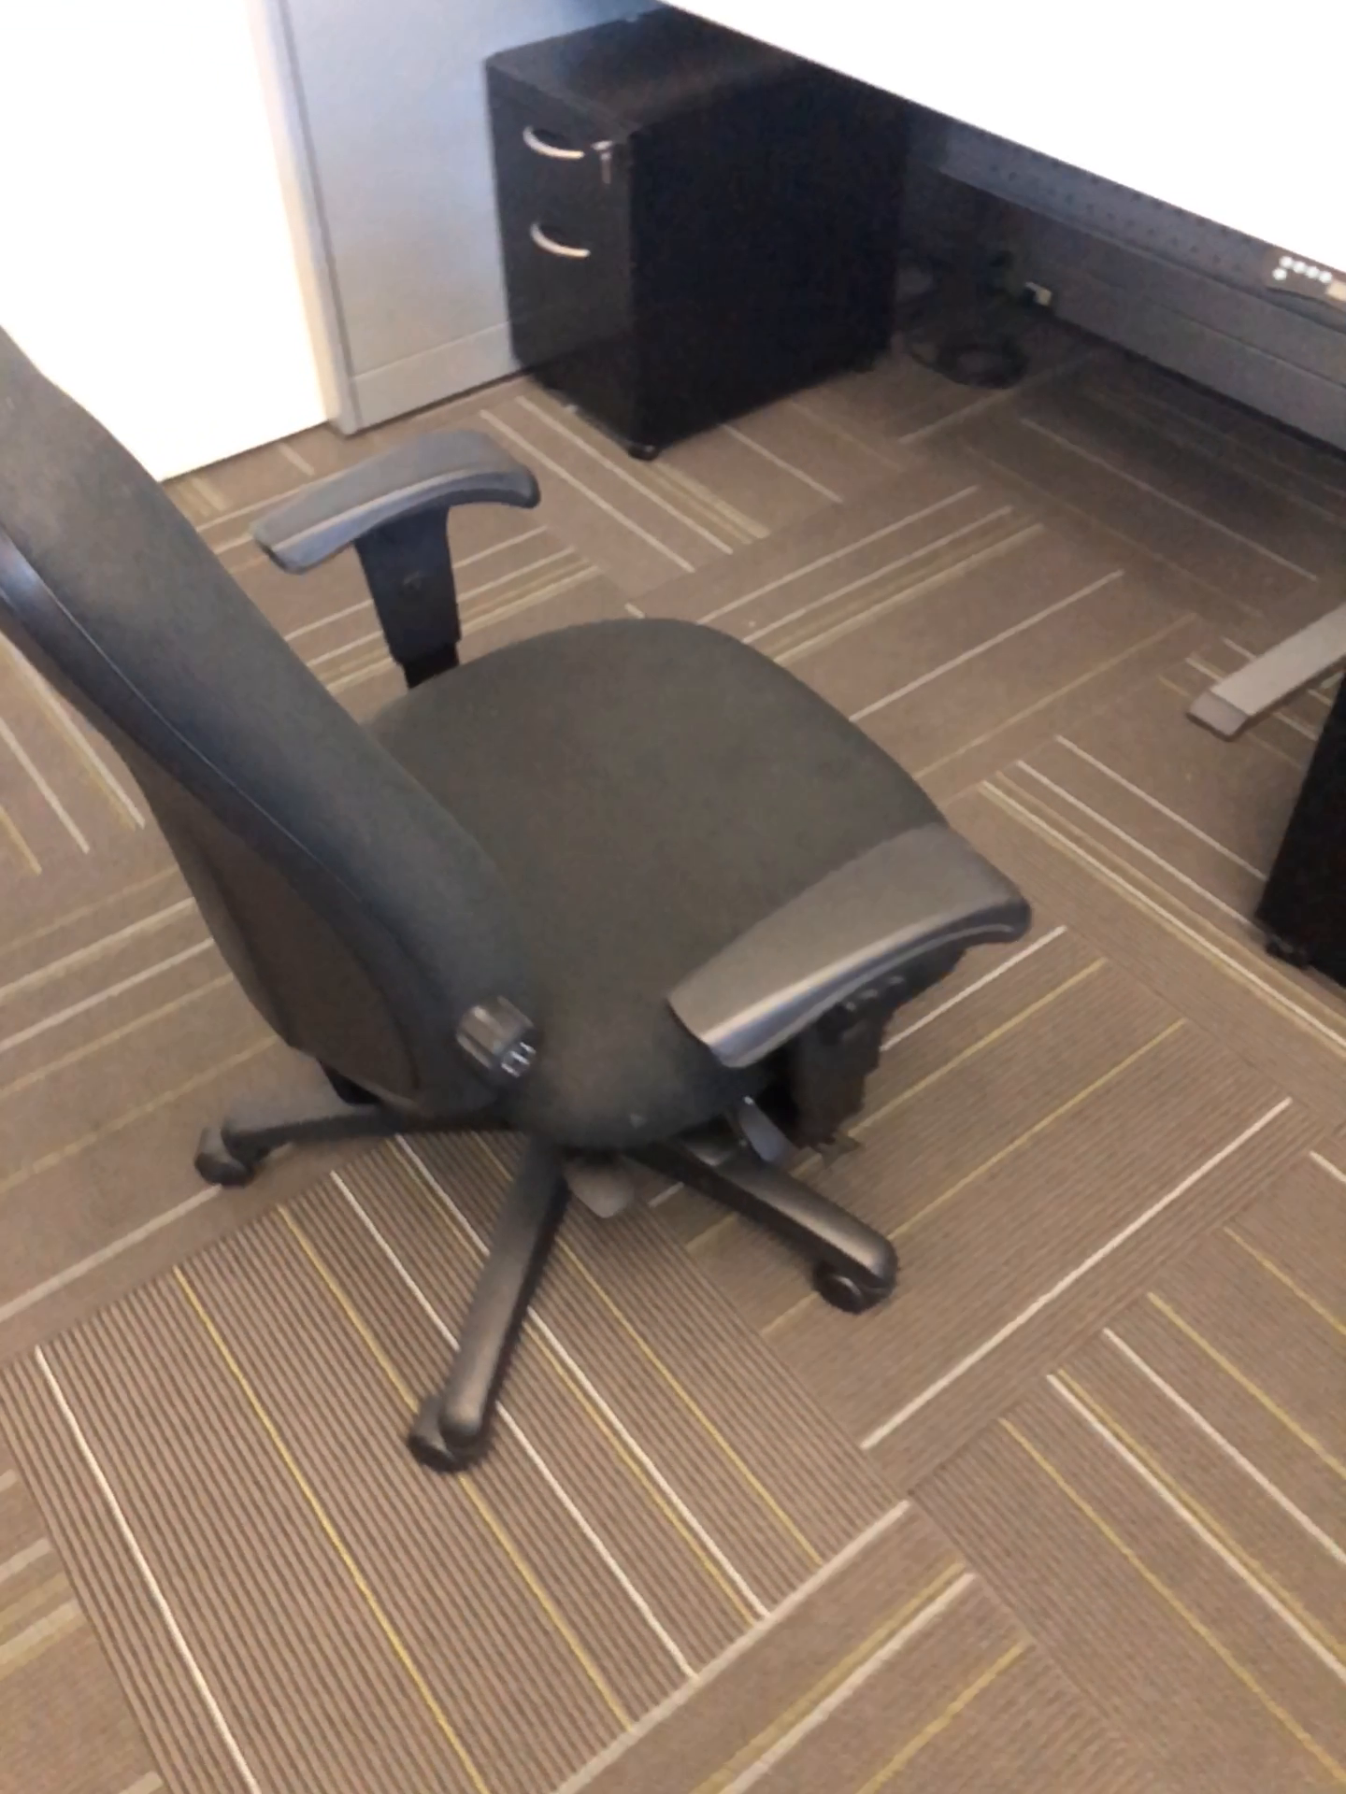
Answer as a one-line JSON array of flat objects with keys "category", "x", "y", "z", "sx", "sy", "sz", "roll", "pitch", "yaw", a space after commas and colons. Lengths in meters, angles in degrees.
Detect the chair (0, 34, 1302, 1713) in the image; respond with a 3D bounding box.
[{"category": "chair", "x": -0.139, "y": -0.021, "z": 1.235, "sx": 0.681, "sy": 0.956, "sz": 0.742, "roll": -29, "pitch": 52, "yaw": -24}]
